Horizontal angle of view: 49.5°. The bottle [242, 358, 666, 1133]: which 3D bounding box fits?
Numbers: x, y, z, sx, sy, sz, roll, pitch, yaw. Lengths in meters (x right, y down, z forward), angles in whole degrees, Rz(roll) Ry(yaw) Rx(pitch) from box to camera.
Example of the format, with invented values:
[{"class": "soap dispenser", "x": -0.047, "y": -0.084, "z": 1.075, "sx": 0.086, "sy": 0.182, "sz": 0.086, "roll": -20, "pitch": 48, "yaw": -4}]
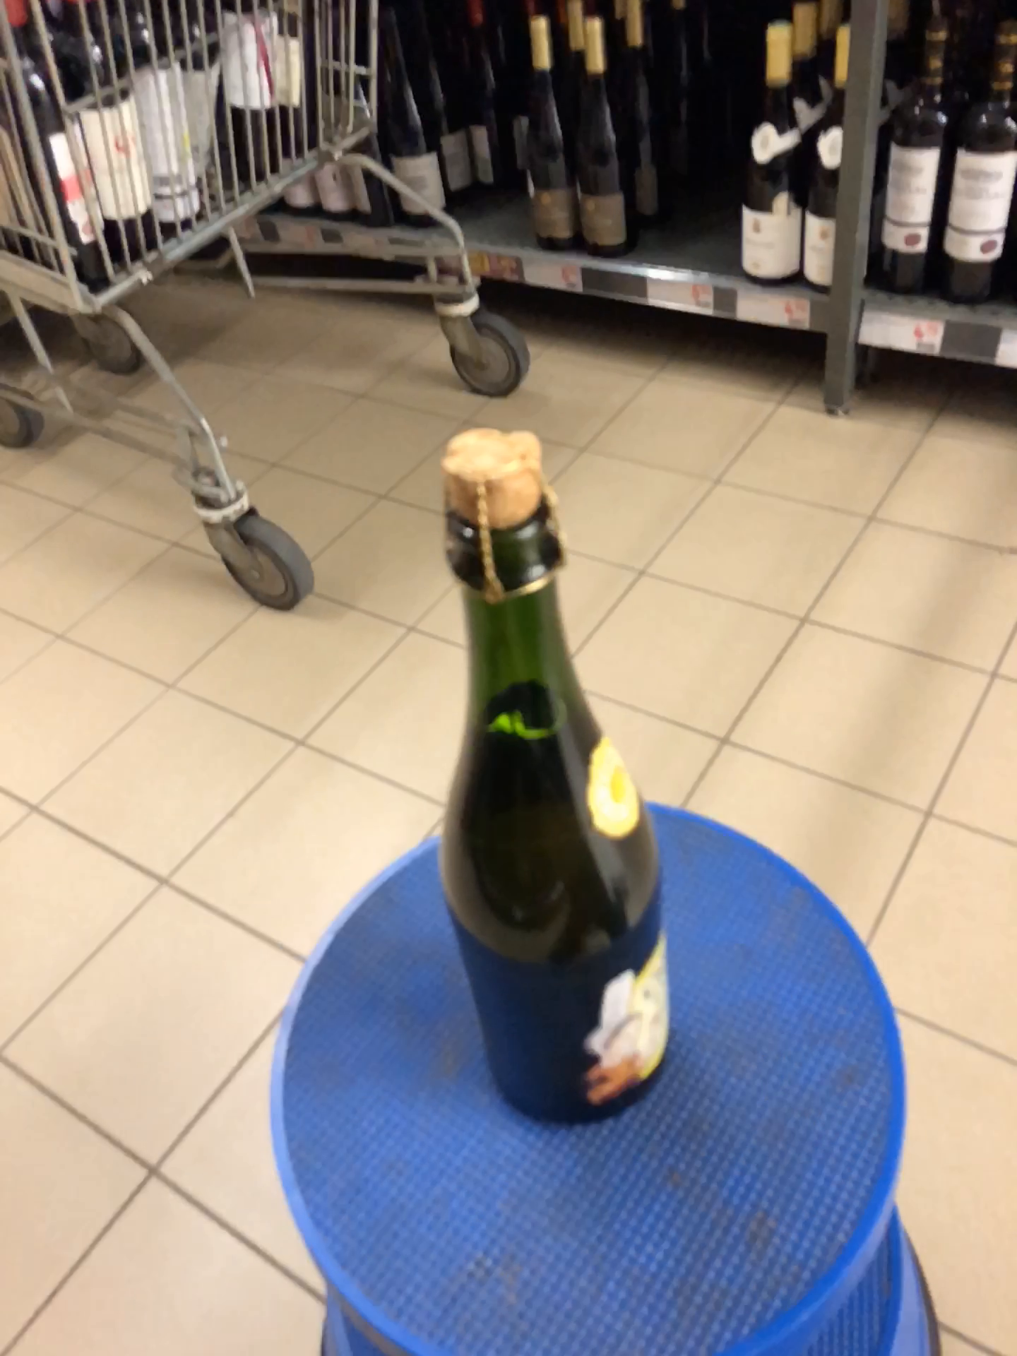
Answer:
[{"class": "bottle", "x": 0.001, "y": 0.049, "z": 0.394, "sx": 0.090, "sy": 0.298, "sz": 0.091, "roll": -6, "pitch": 43, "yaw": 5}]
